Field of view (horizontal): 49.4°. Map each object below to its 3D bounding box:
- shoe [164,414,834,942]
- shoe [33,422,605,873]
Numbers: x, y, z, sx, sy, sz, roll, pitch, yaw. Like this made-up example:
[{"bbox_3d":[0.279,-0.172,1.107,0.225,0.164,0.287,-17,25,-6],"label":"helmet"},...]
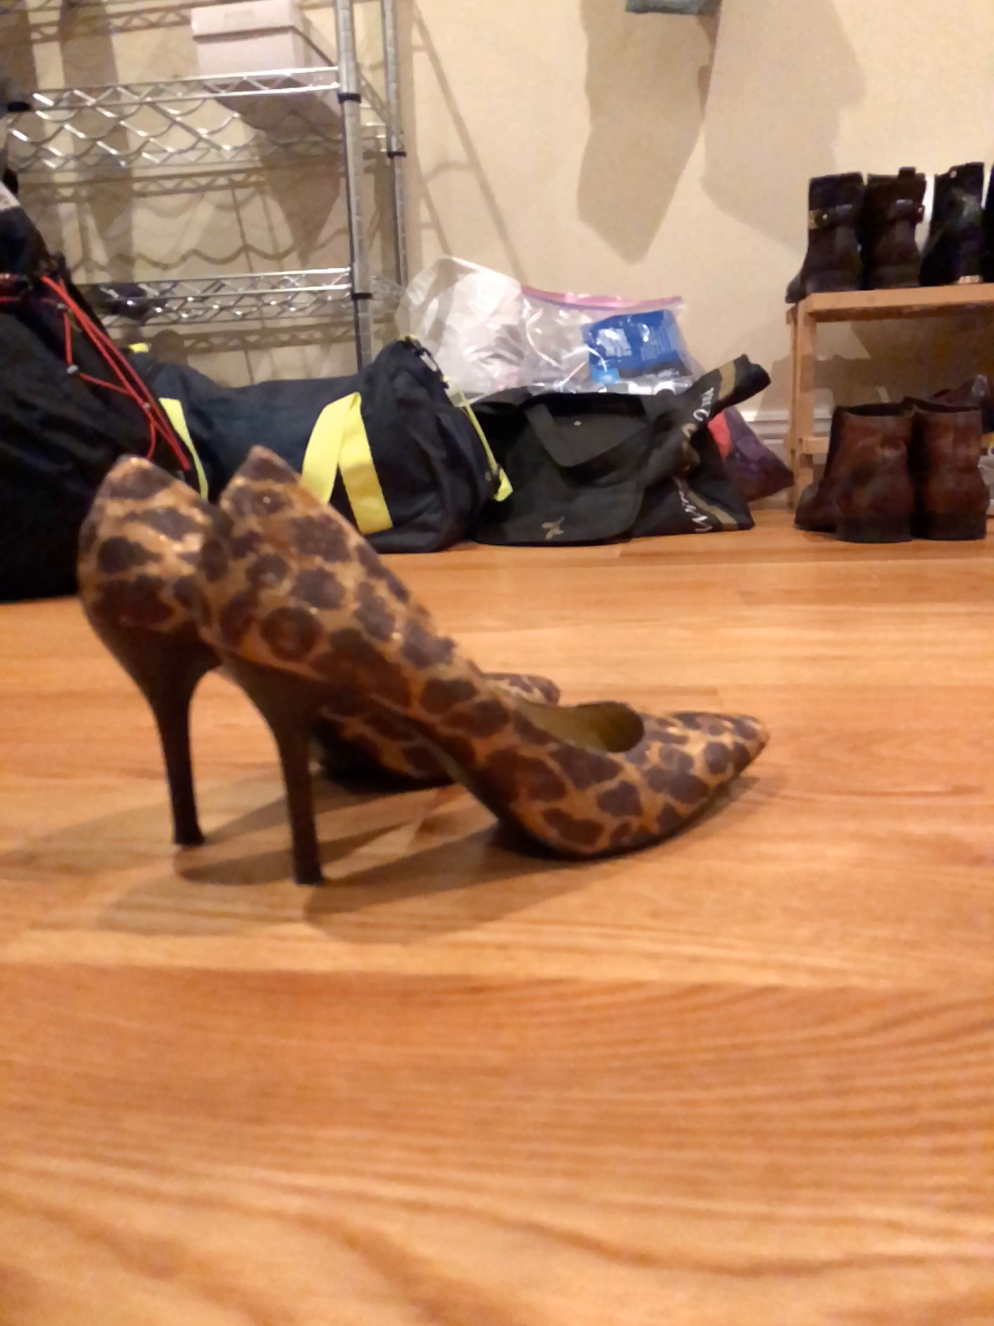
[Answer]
[{"bbox_3d":[0.008,-0.011,0.387,0.219,0.144,0.084,-9,13,-28],"label":"shoe"},{"bbox_3d":[-0.060,-0.024,0.454,0.219,0.144,0.084,-13,16,-41],"label":"shoe"}]
